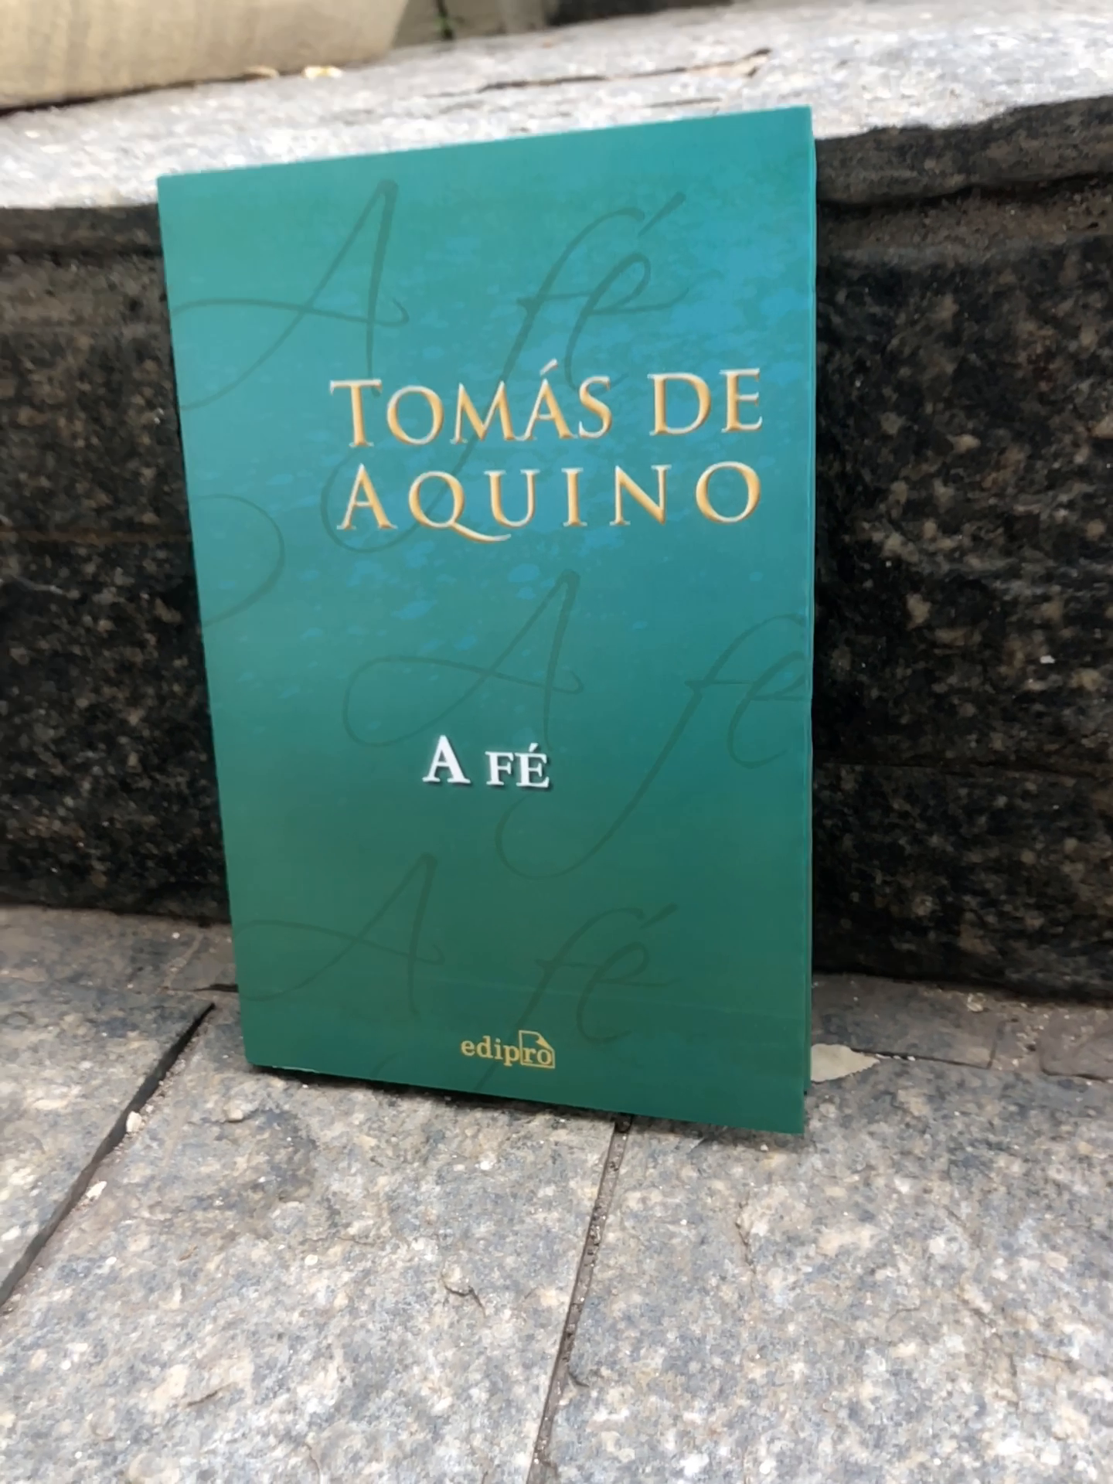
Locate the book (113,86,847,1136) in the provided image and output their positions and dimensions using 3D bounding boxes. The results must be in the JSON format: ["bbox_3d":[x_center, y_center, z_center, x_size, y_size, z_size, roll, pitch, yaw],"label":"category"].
[{"bbox_3d":[-0.015,-0.020,0.263,0.142,0.199,0.020,3,15,16],"label":"book"}]
